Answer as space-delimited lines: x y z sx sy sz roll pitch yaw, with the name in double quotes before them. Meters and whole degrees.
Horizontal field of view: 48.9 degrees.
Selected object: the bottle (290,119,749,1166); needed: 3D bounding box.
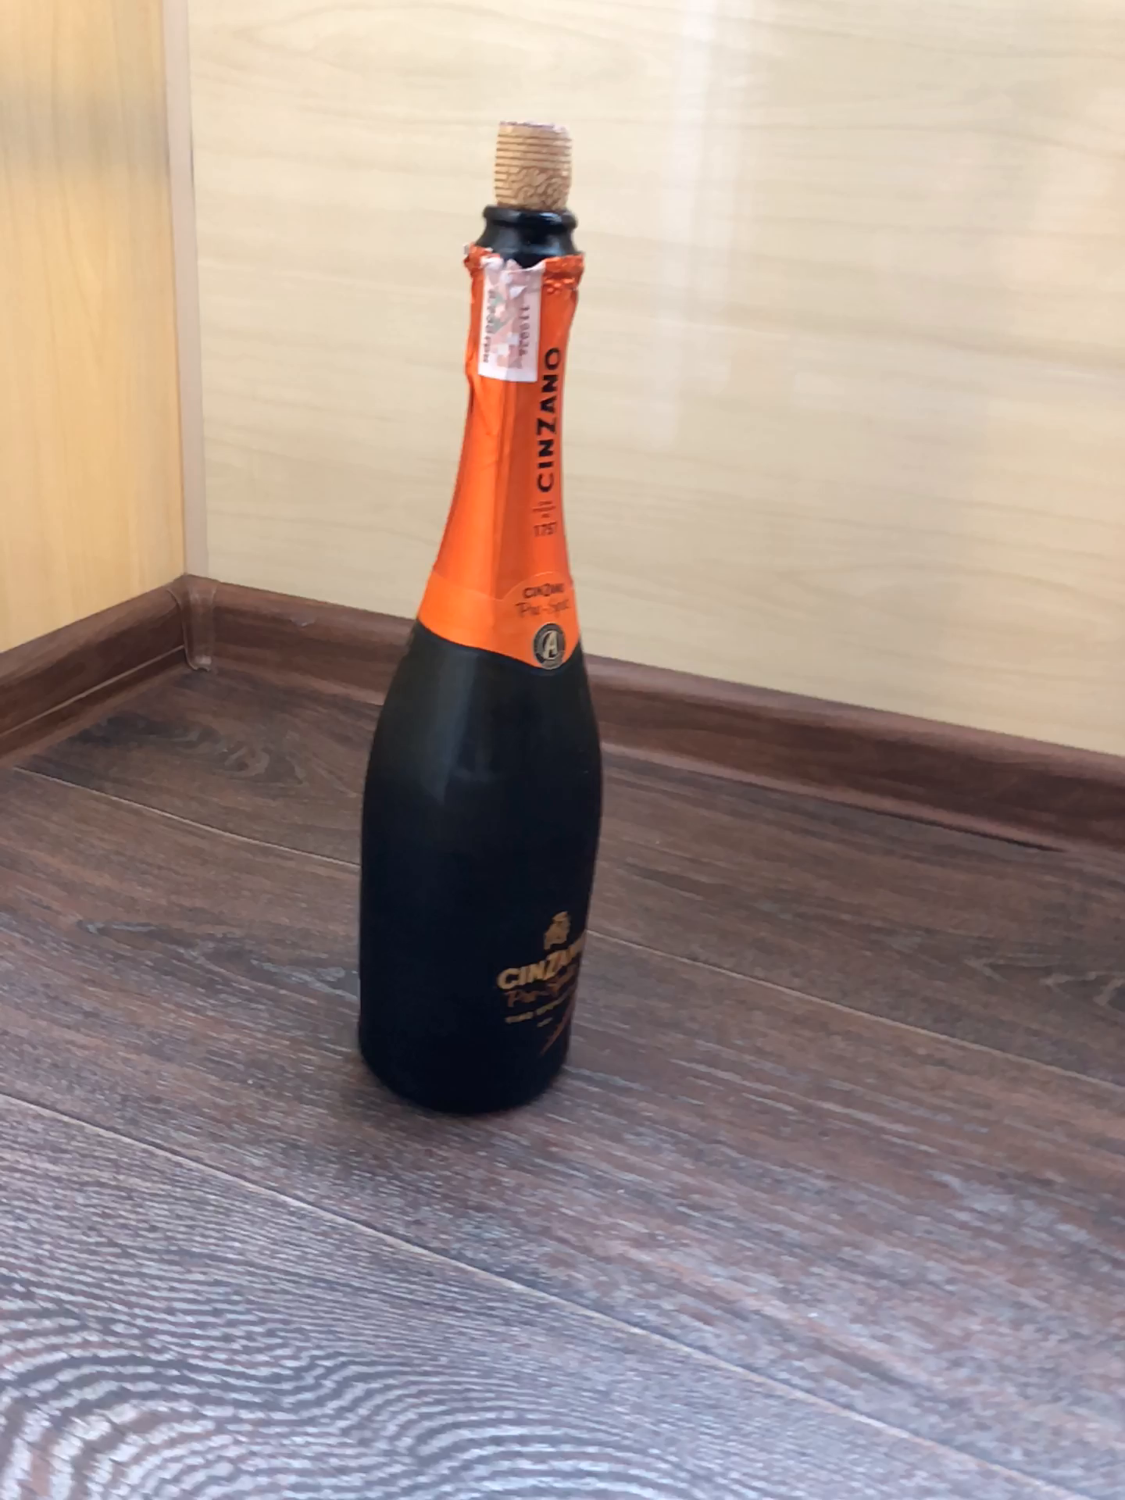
"bottle" -0.025 -0.031 0.432 0.100 0.328 0.093 4 24 -2
